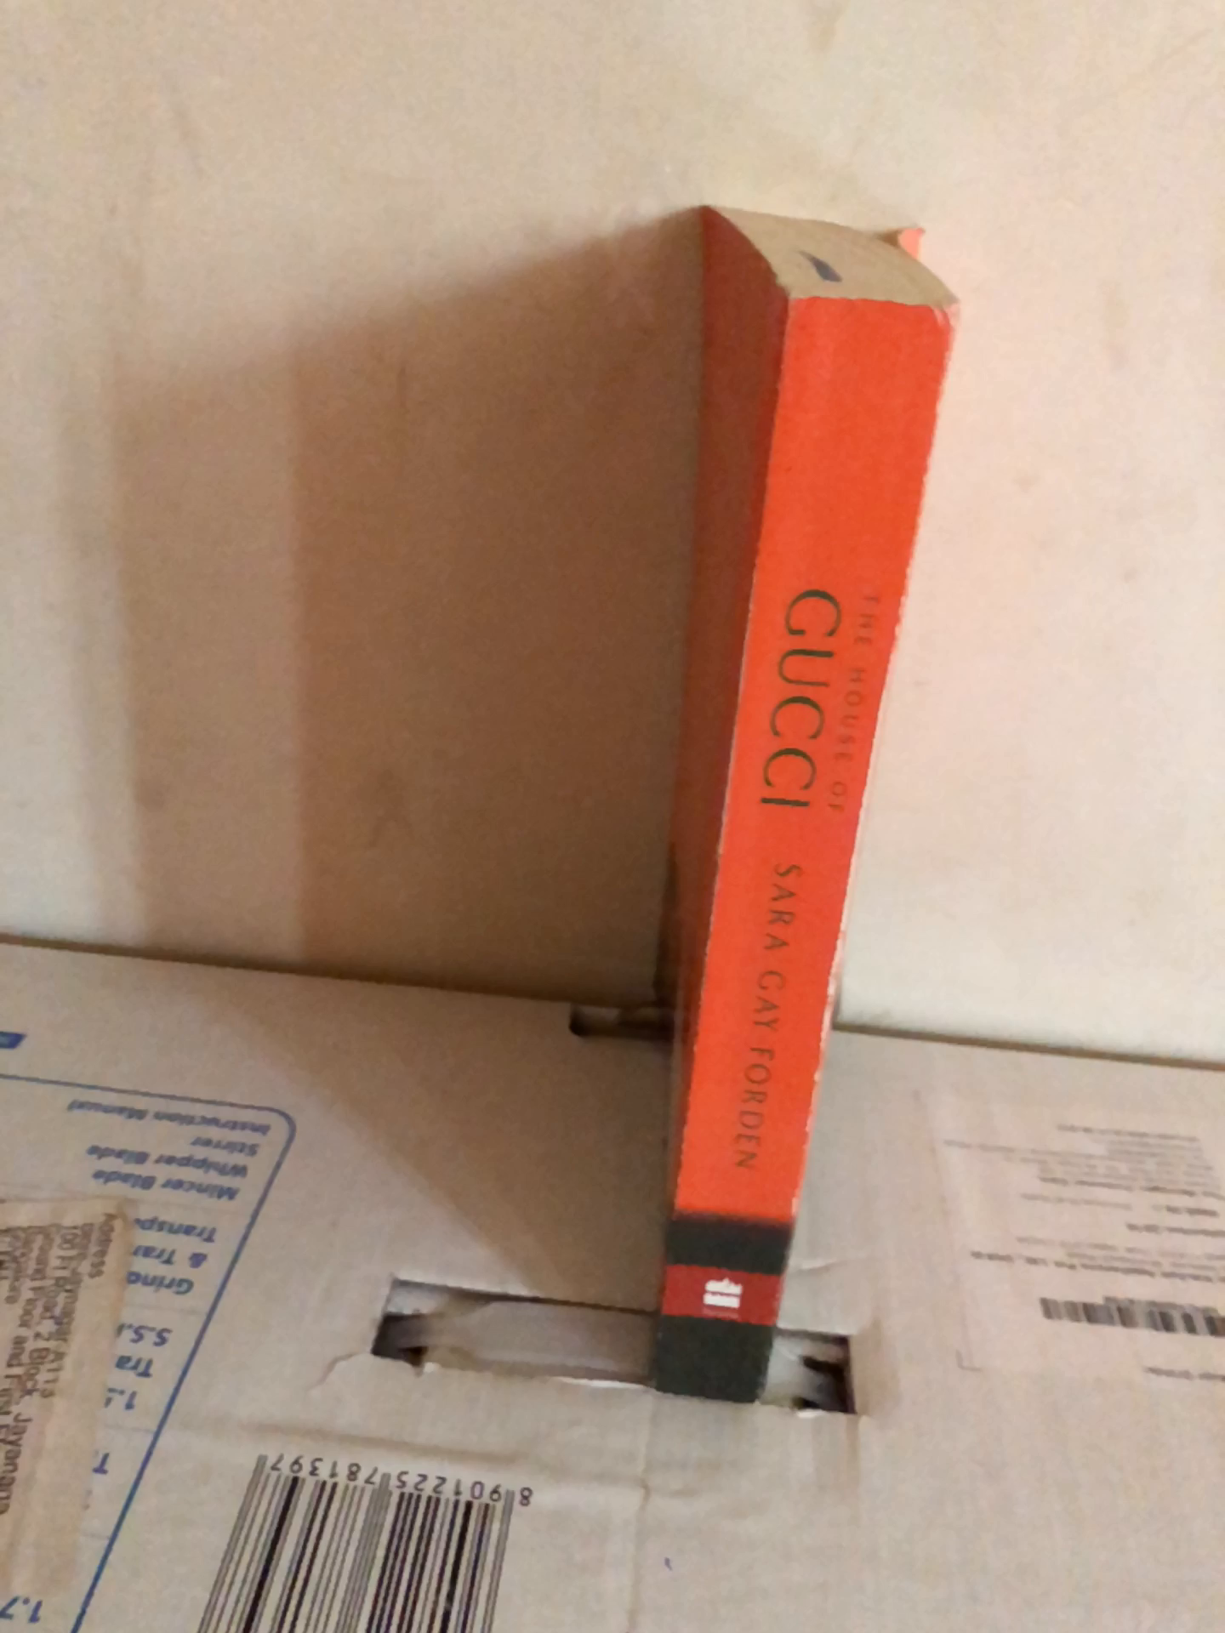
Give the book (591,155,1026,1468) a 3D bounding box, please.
[{"bbox_3d":[0.039,-0.014,0.308,0.040,0.229,0.191,8,30,6],"label":"book"}]
